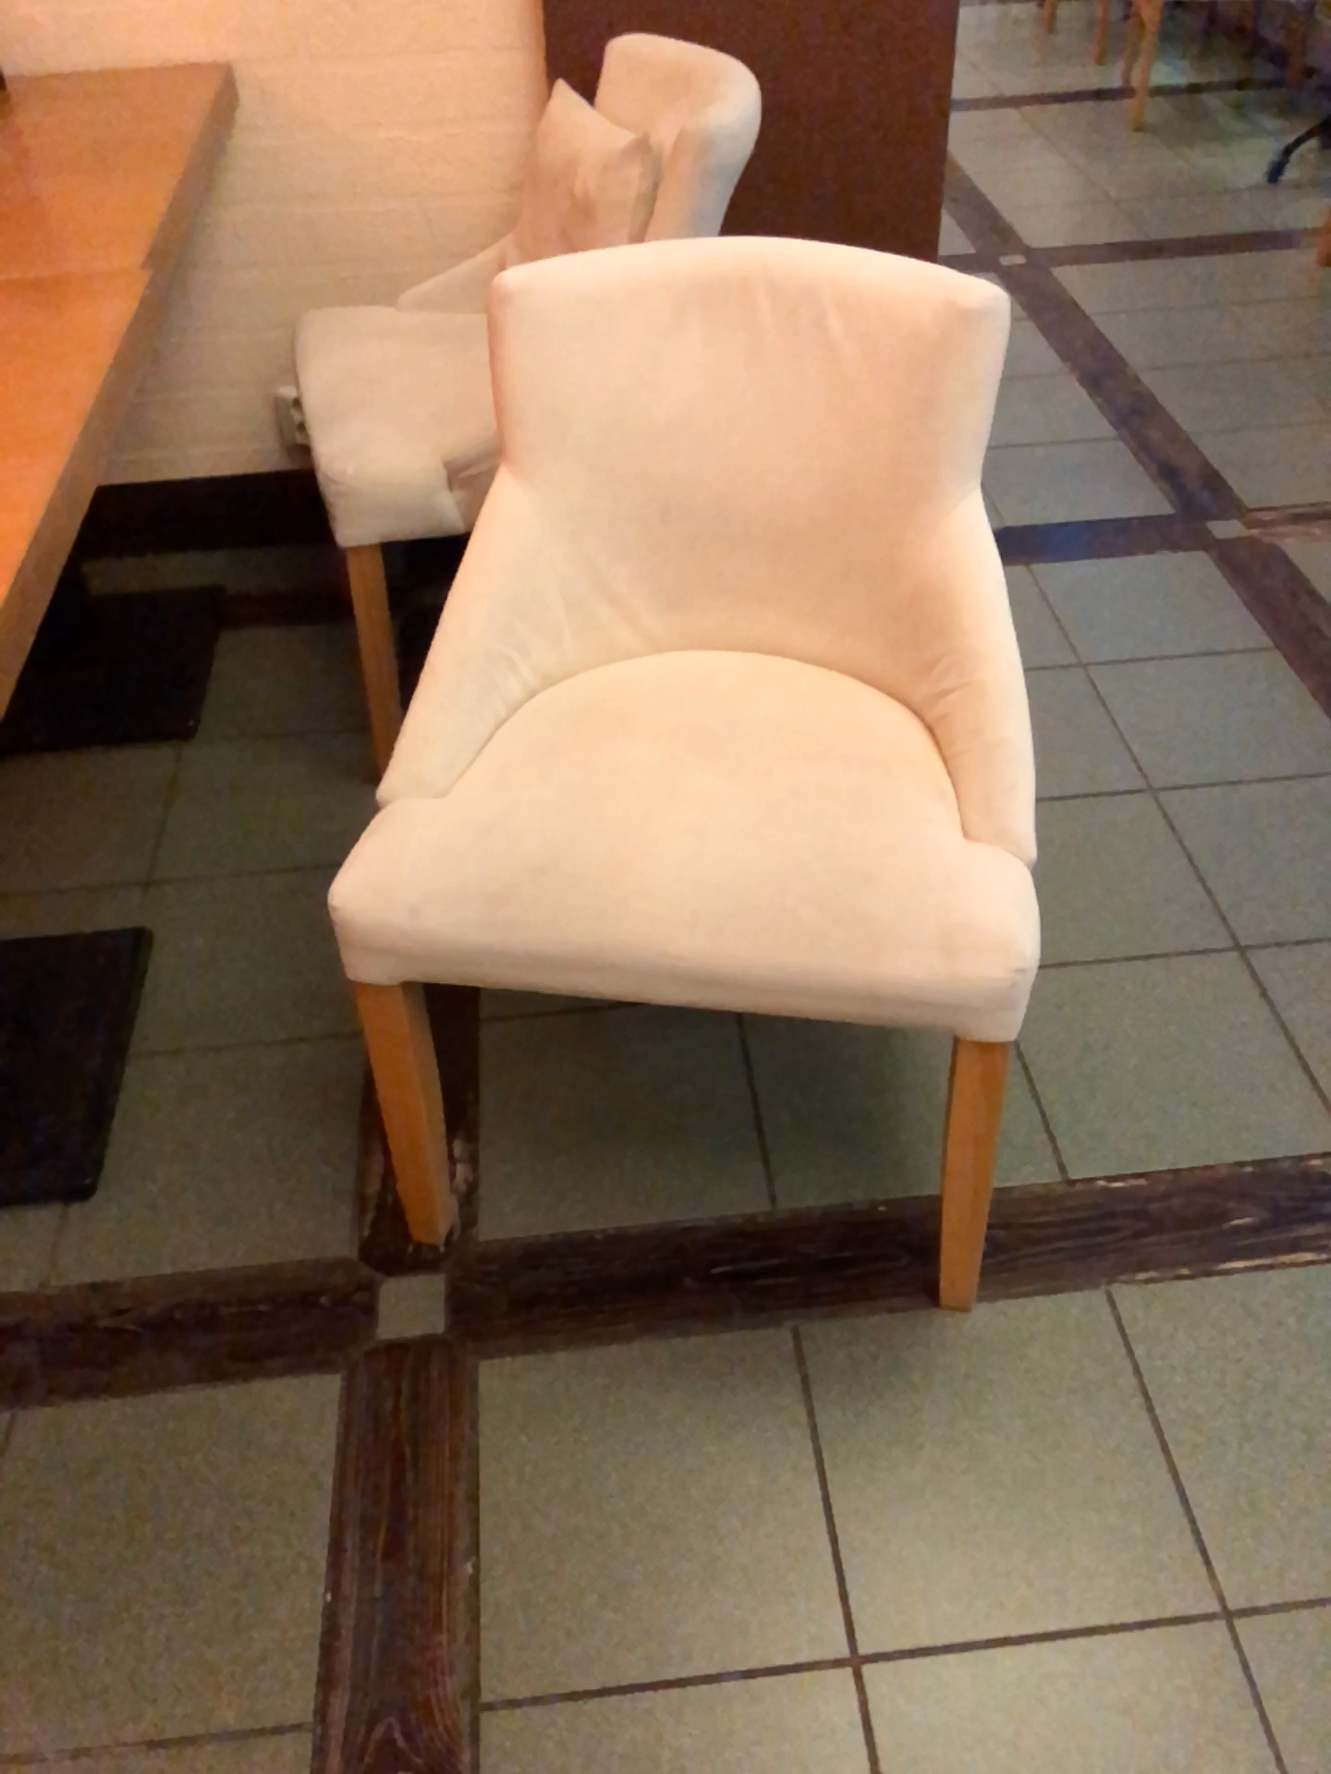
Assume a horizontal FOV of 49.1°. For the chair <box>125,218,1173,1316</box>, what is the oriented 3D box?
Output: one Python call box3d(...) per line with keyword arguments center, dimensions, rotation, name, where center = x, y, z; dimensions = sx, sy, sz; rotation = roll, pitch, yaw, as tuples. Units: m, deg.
box3d(center=(0.035, -0.127, 1.353), dimensions=(0.630, 0.736, 0.664), rotation=(3, 42, 7), name="chair")
